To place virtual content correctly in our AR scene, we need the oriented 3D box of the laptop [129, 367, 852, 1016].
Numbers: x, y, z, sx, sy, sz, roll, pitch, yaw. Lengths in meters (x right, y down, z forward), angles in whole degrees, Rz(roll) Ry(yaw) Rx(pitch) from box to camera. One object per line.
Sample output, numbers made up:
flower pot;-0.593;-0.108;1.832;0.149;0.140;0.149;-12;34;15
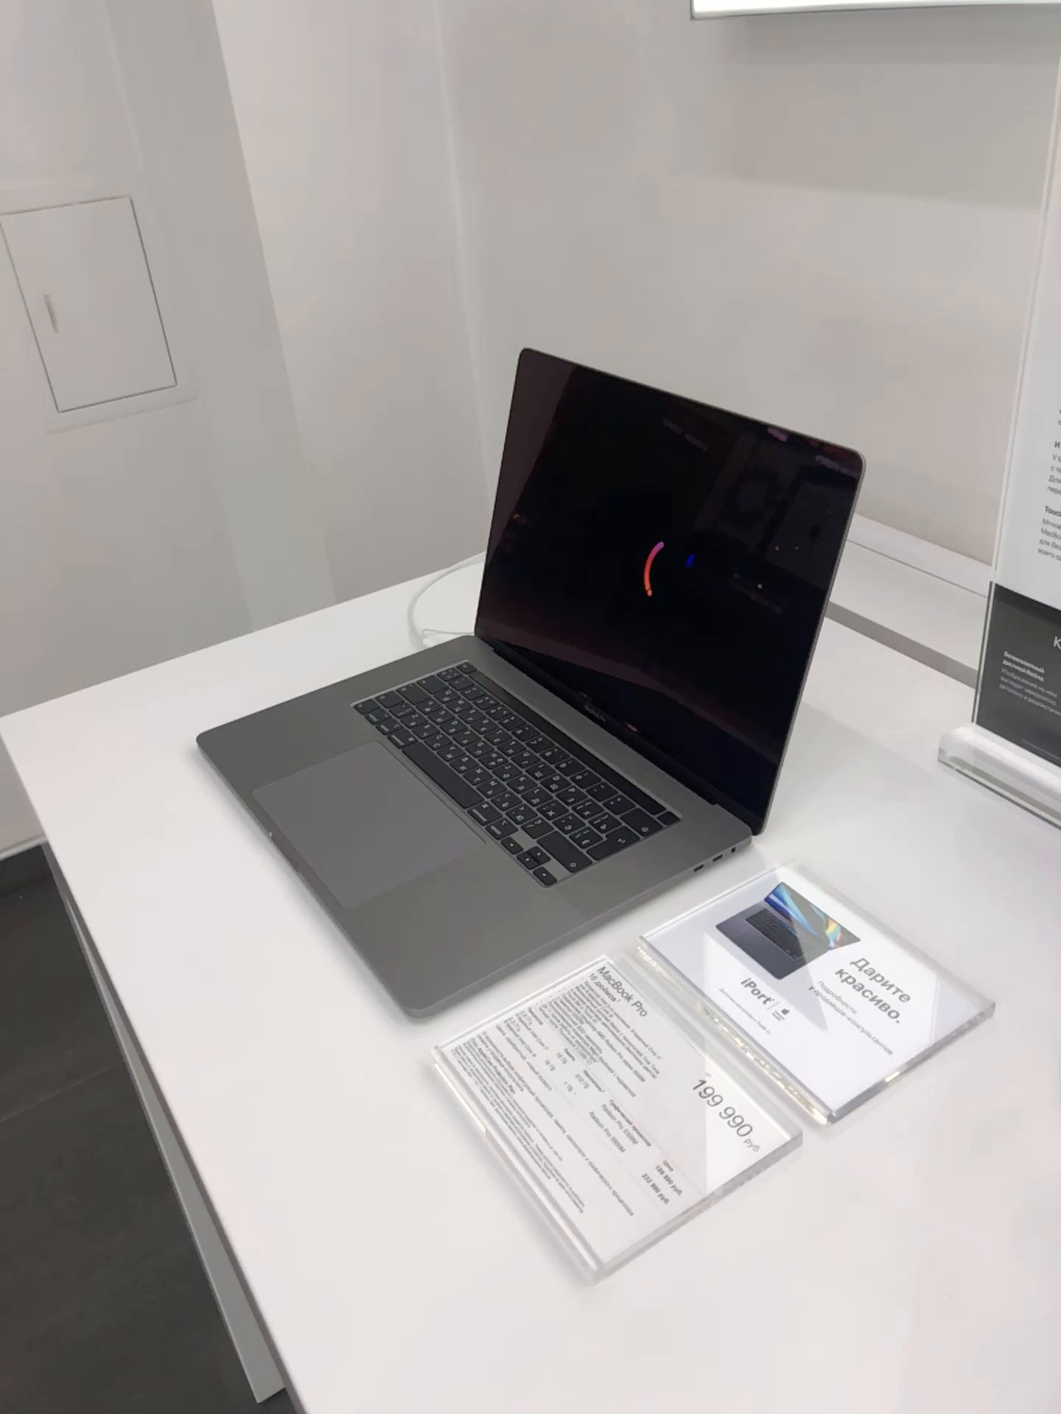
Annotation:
laptop;-0.032;-0.048;0.745;0.310;0.209;0.329;-24;35;-25
